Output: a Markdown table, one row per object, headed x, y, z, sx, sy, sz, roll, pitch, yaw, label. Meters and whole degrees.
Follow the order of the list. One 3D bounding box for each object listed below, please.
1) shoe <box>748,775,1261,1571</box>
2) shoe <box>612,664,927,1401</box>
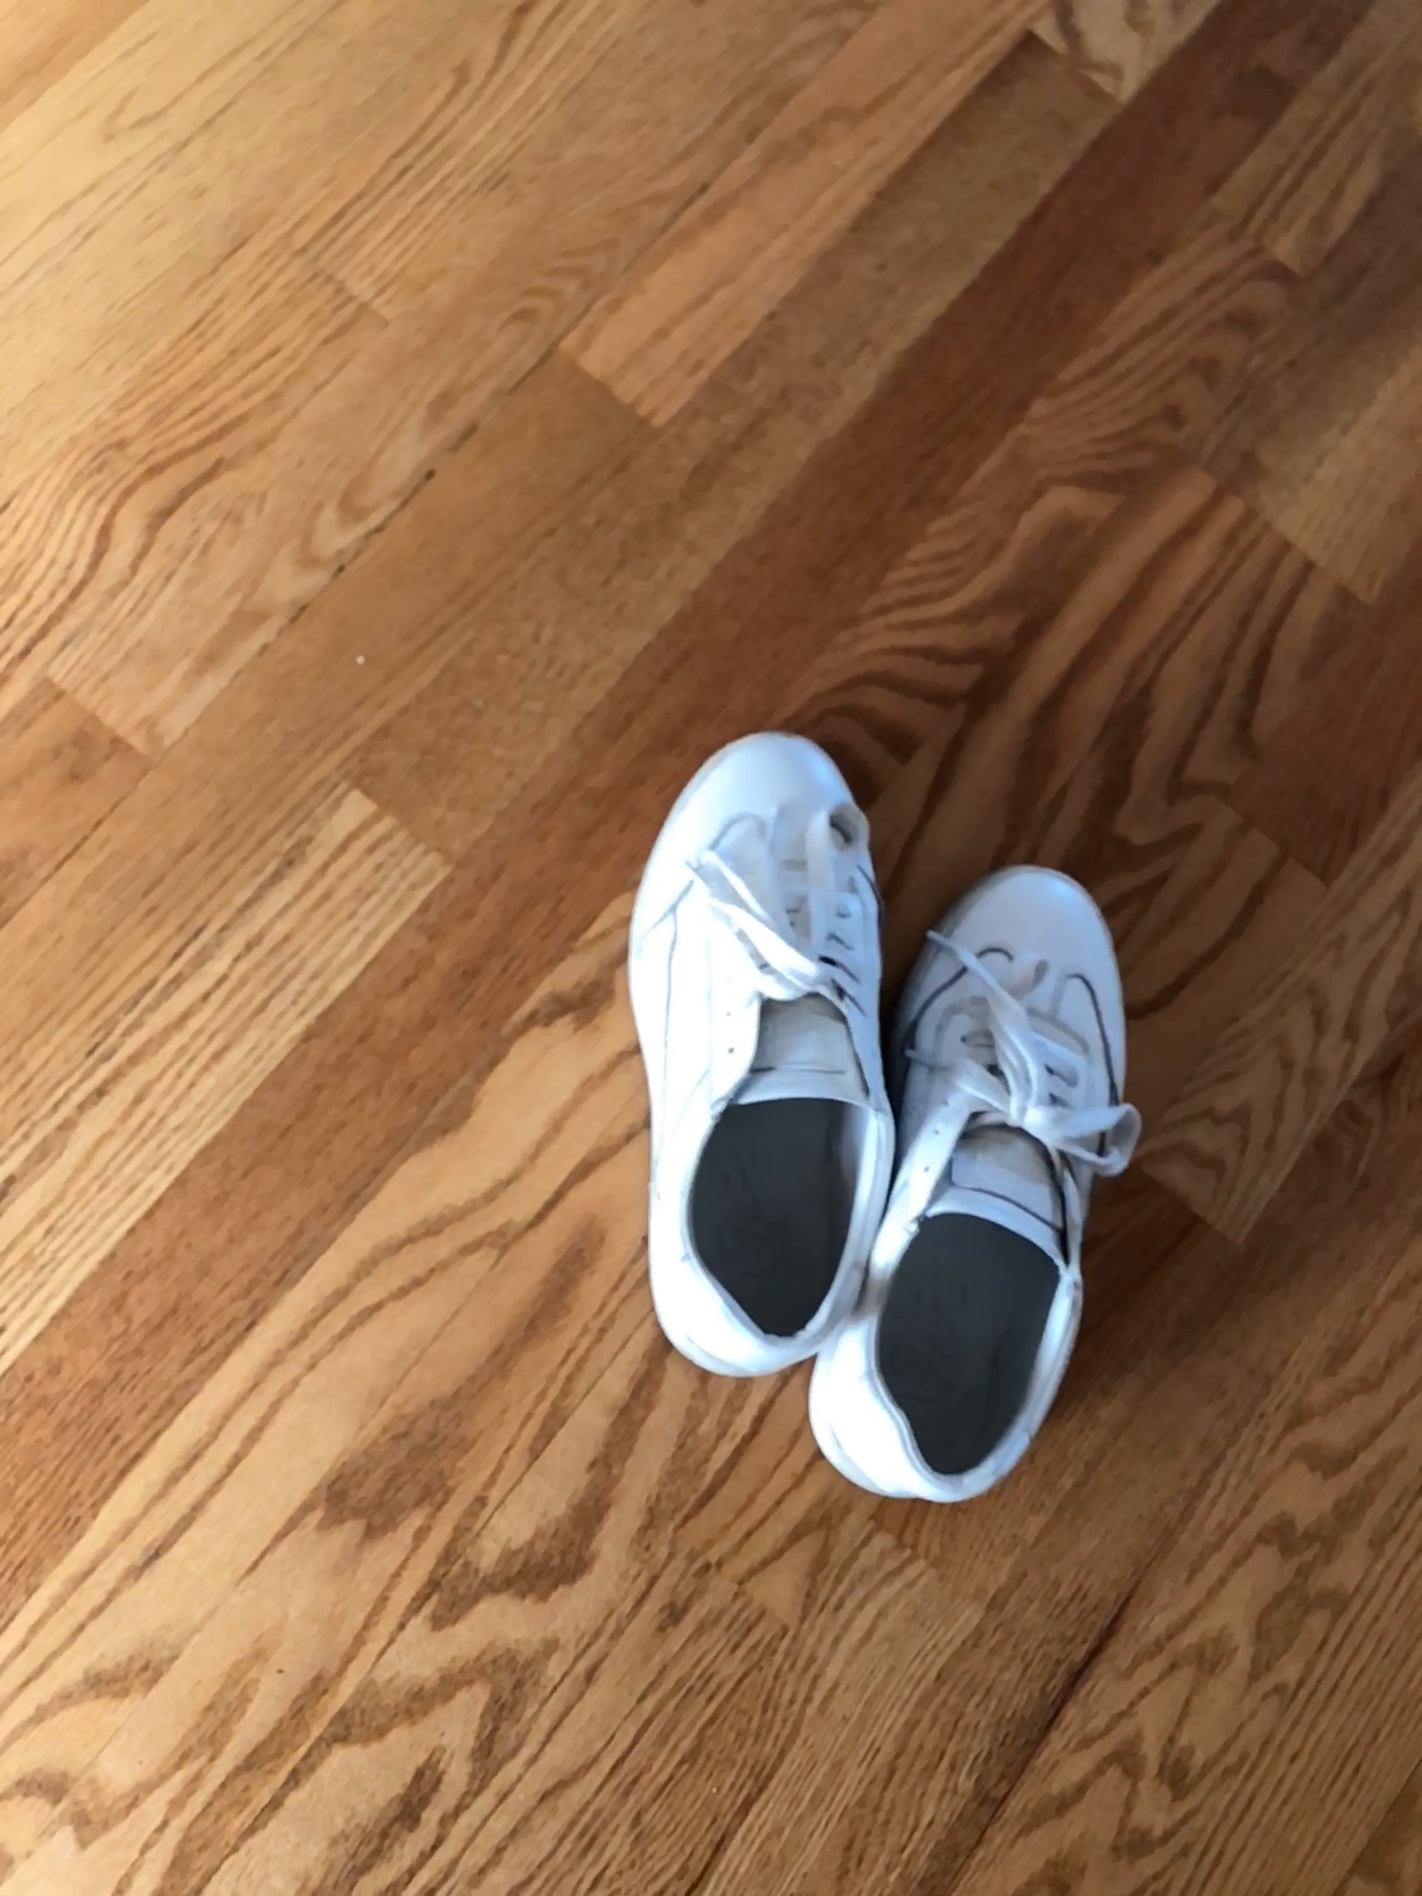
| x | y | z | sx | sy | sz | roll | pitch | yaw | label |
| --- | --- | --- | --- | --- | --- | --- | --- | --- | --- |
| 0.110 | 0.083 | 0.610 | 0.102 | 0.107 | 0.260 | 19 | 78 | -3 | shoe |
| 0.020 | 0.035 | 0.609 | 0.102 | 0.104 | 0.260 | 2 | 80 | -7 | shoe |
